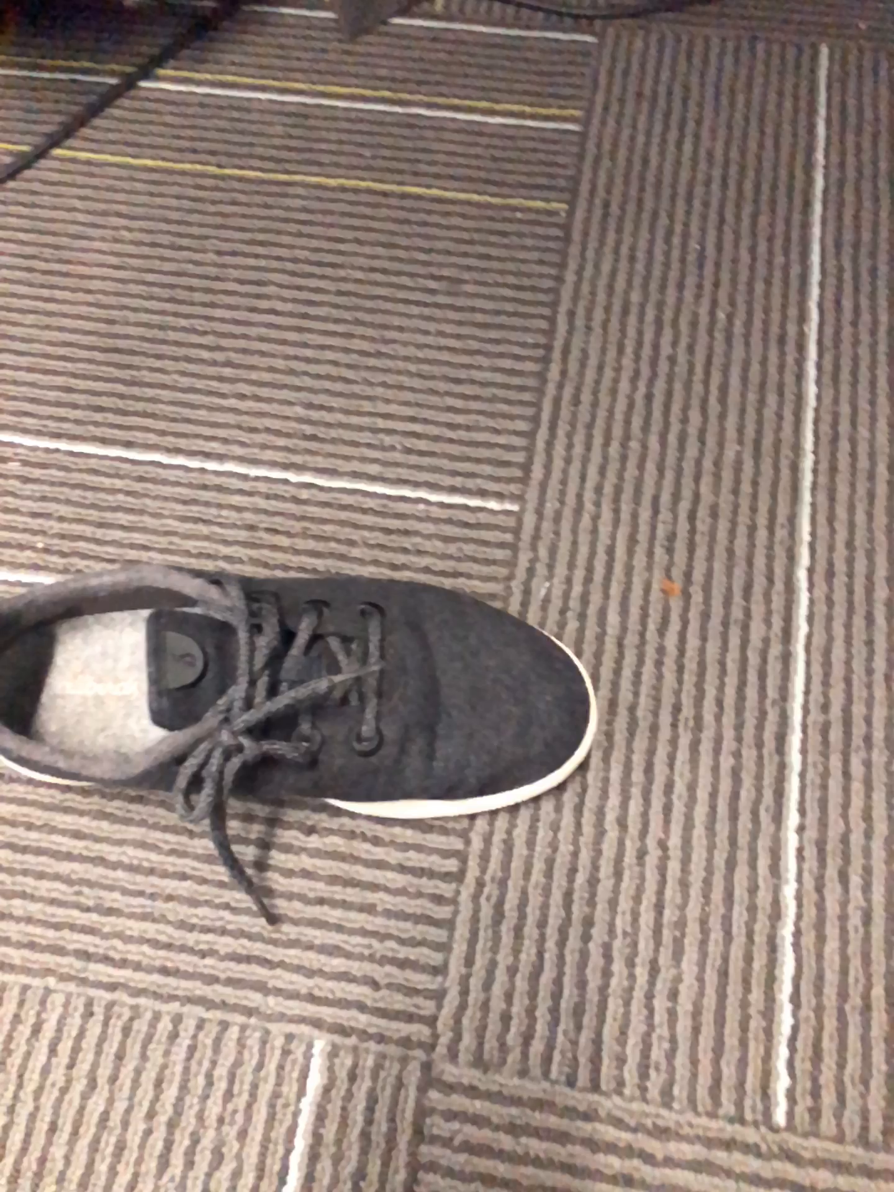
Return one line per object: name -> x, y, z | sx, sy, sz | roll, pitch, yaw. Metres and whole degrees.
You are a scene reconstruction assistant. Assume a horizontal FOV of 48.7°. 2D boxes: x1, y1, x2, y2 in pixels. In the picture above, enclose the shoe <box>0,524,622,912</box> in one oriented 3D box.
shoe -> -0.079, 0.048, 0.396 | 0.280, 0.060, 0.140 | 0, 66, 3
